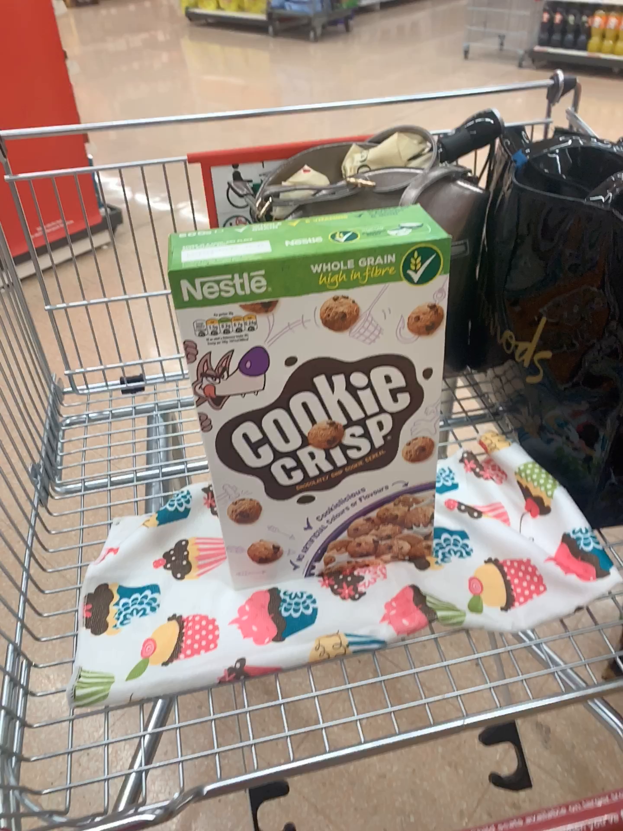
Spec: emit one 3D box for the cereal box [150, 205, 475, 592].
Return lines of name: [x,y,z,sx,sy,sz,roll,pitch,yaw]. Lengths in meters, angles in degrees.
cereal box: [0.004,-0.002,0.539,0.220,0.307,0.071,-8,34,-8]
